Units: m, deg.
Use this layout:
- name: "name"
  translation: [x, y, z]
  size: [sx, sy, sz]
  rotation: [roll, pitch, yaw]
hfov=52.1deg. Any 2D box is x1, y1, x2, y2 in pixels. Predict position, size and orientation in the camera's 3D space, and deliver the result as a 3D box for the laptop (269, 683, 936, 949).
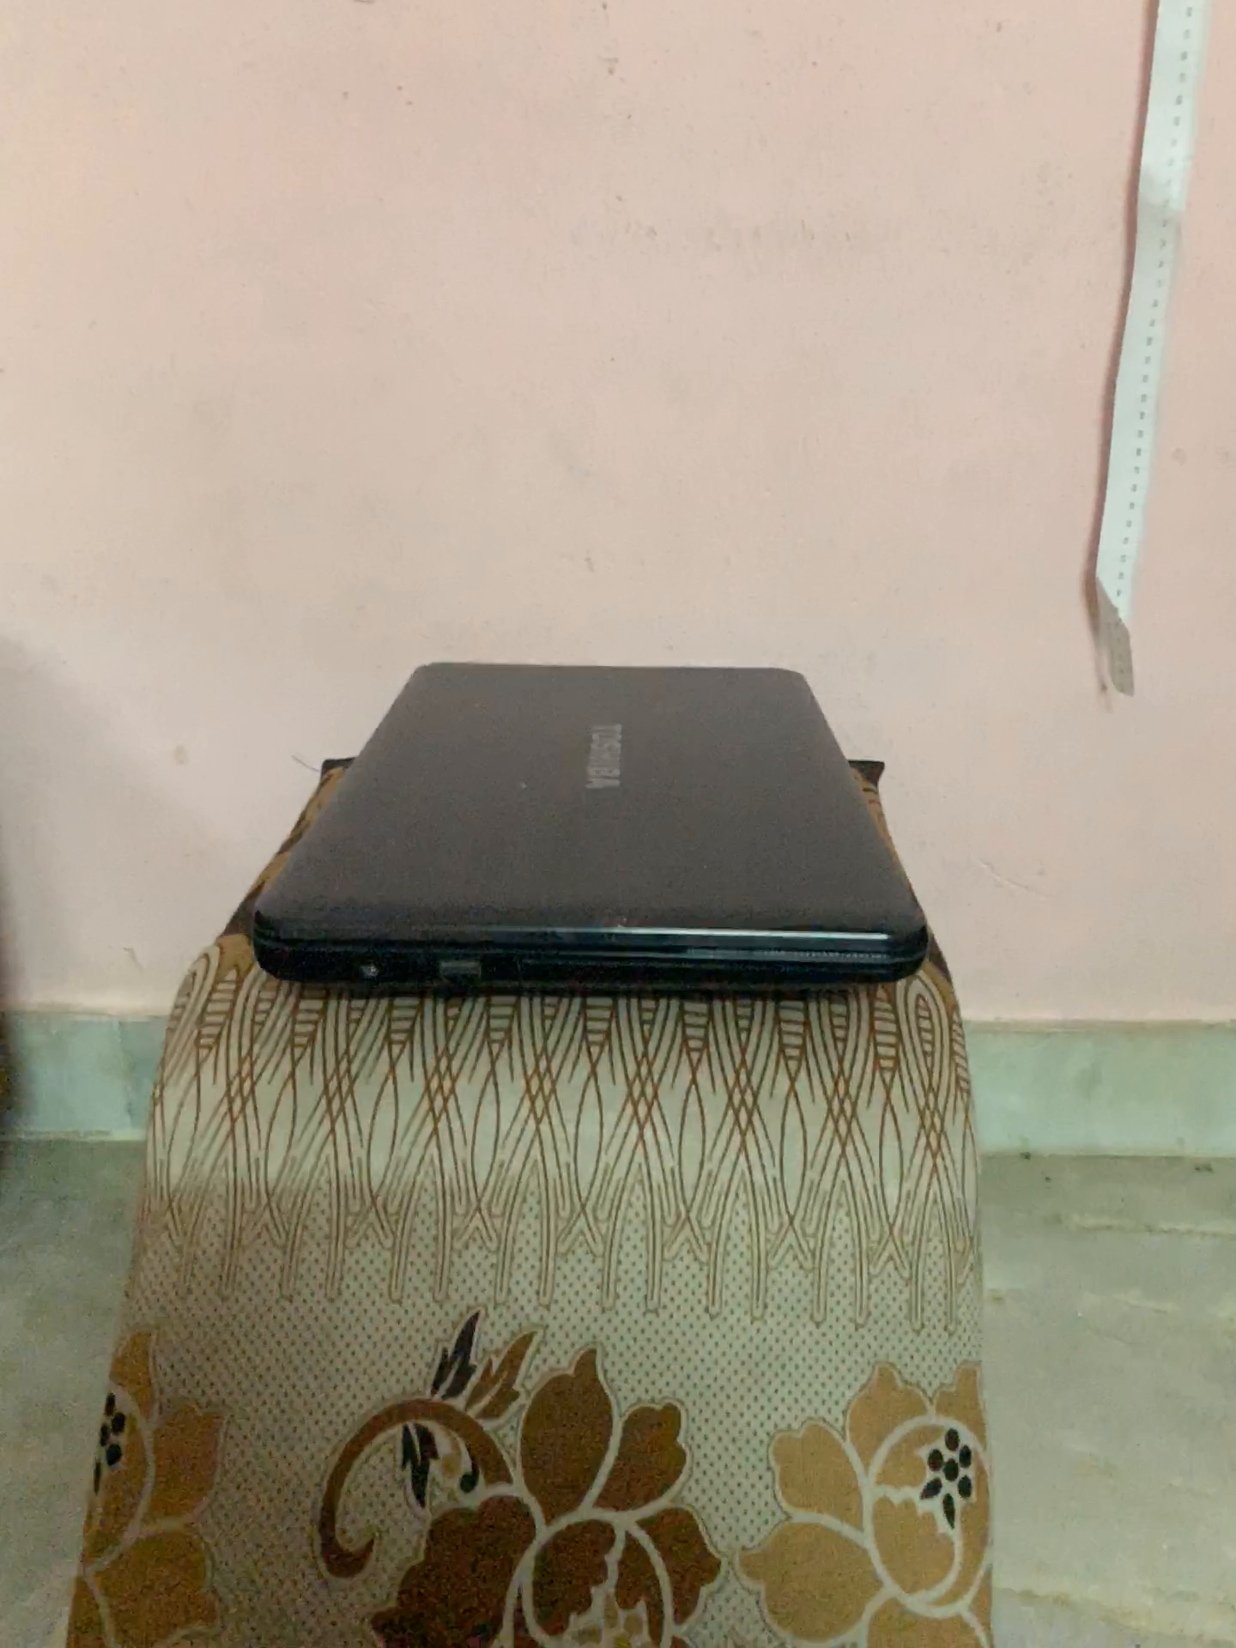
- name: "laptop"
  translation: [-0.007, -0.022, 0.596]
  size: [0.222, 0.001, 0.371]
  rotation: [0, 20, 0]
